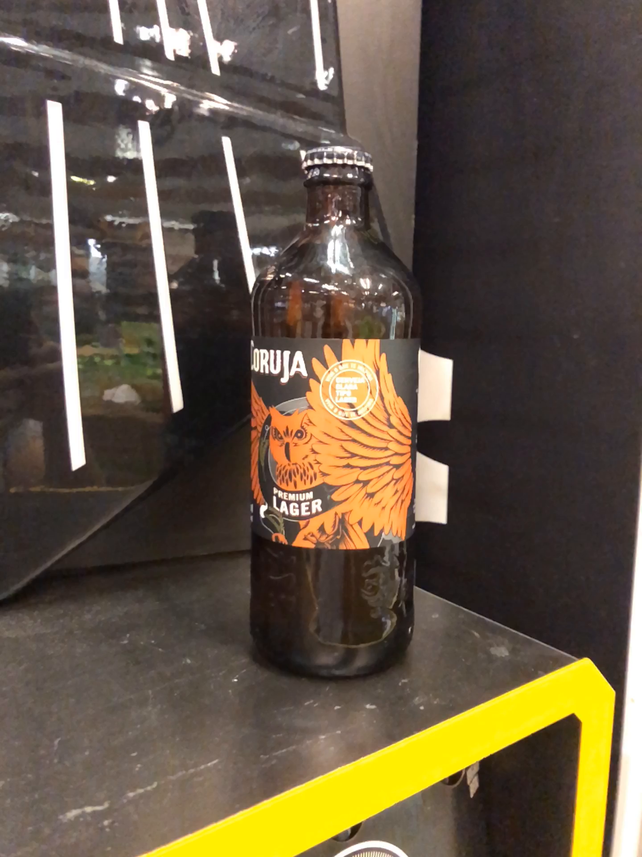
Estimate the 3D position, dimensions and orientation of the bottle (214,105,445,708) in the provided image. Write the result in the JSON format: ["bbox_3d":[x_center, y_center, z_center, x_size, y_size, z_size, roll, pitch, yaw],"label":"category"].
[{"bbox_3d":[0.004,-0.009,0.307,0.070,0.219,0.070,1,7,0],"label":"bottle"}]
